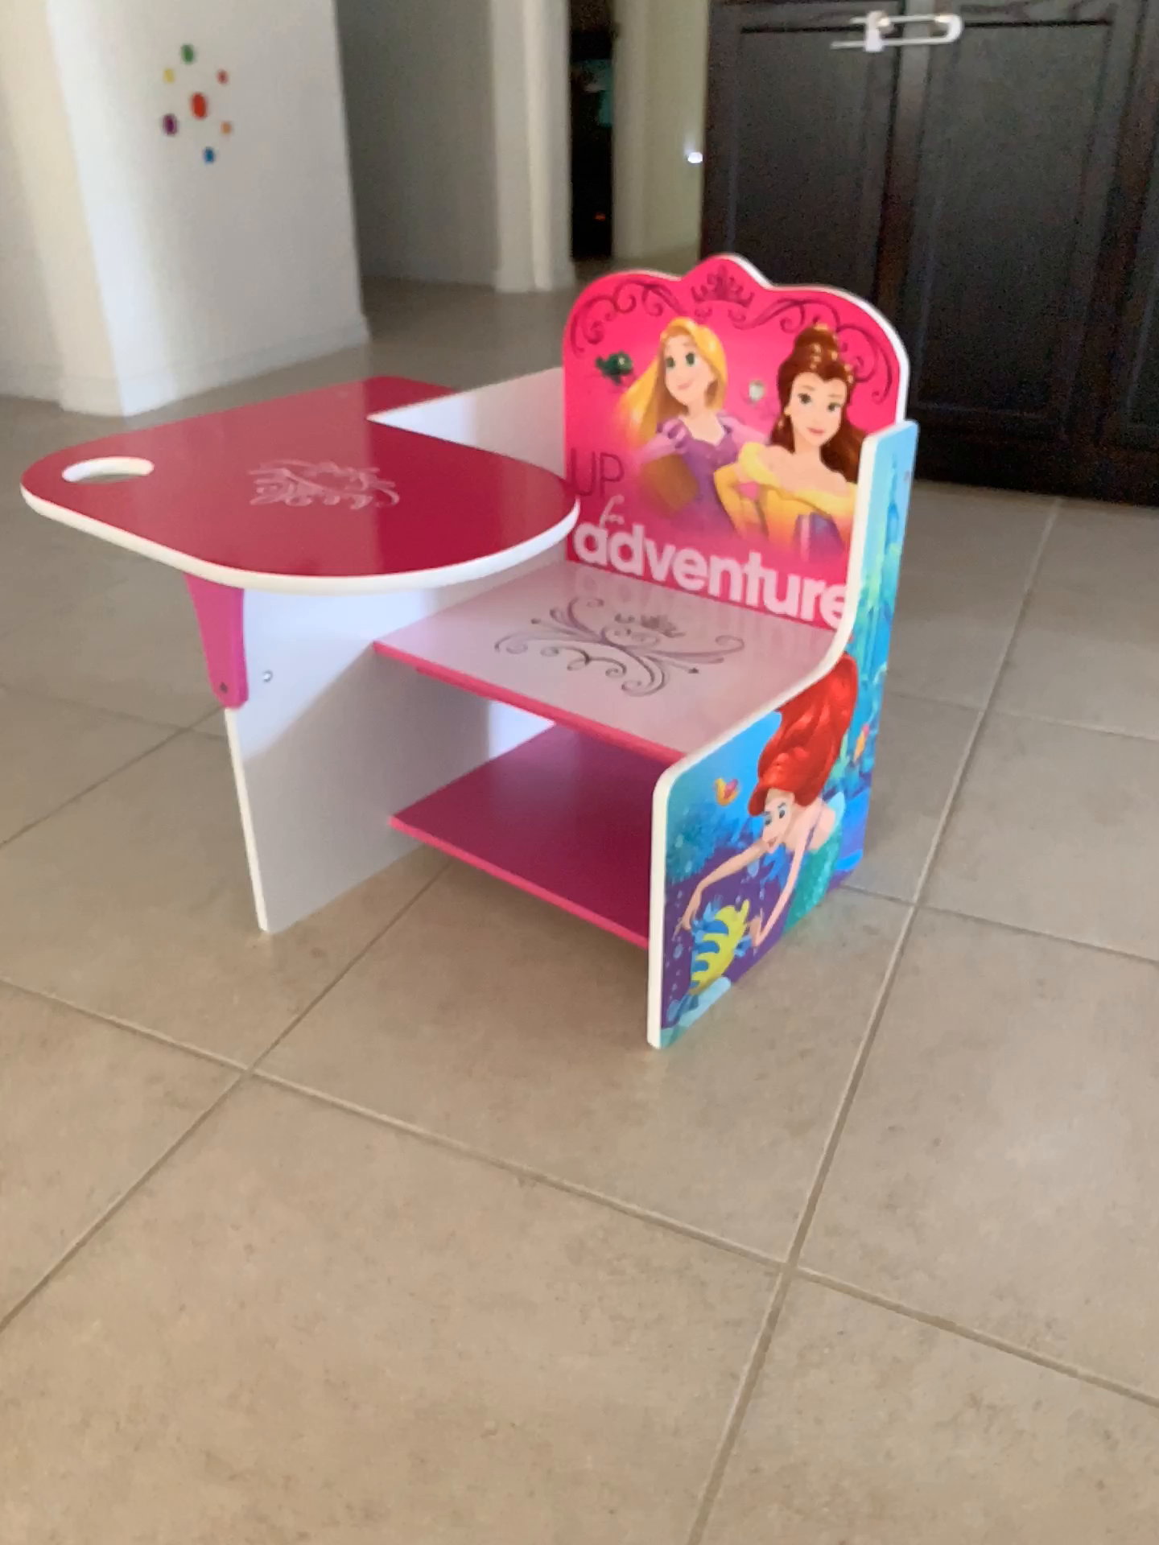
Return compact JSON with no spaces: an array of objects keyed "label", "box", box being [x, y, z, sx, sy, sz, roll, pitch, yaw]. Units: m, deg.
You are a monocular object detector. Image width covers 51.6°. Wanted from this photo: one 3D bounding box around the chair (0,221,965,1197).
[{"label":"chair","box":[-0.067,-0.137,1.039,0.533,0.566,0.552,19,34,31]}]
